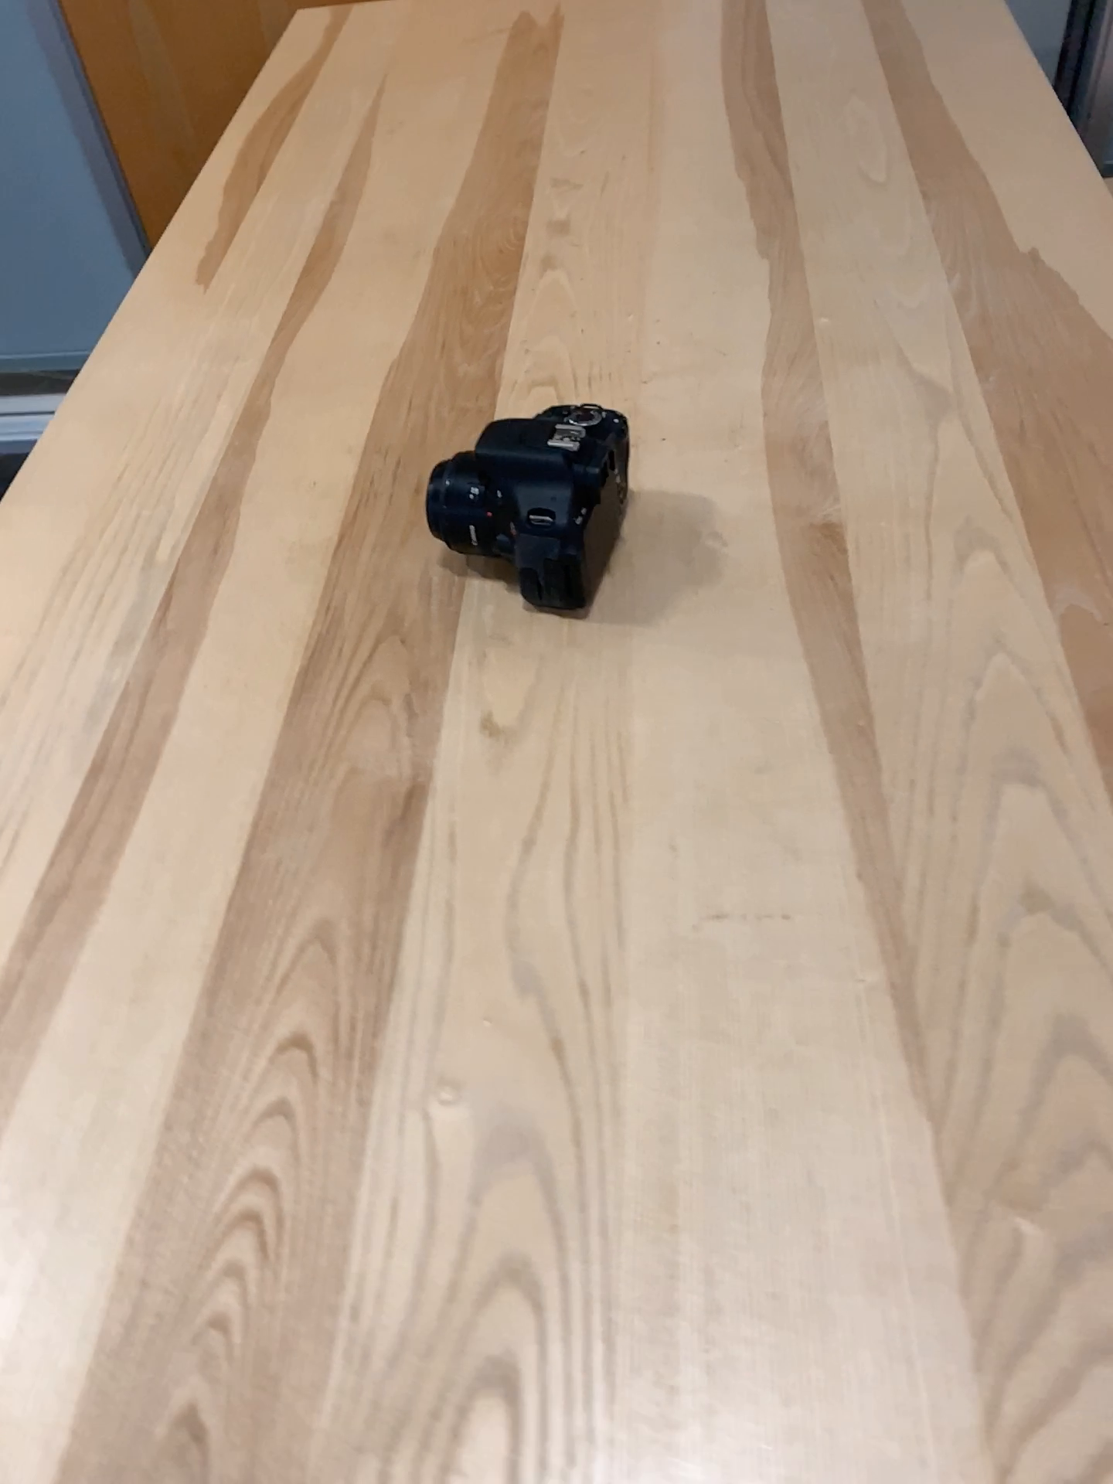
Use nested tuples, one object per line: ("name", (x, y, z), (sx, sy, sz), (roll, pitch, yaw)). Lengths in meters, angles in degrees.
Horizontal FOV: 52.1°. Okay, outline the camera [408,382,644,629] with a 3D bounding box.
("camera", (-0.014, -0.158, 0.751), (0.116, 0.094, 0.123), (8, 51, 14))
